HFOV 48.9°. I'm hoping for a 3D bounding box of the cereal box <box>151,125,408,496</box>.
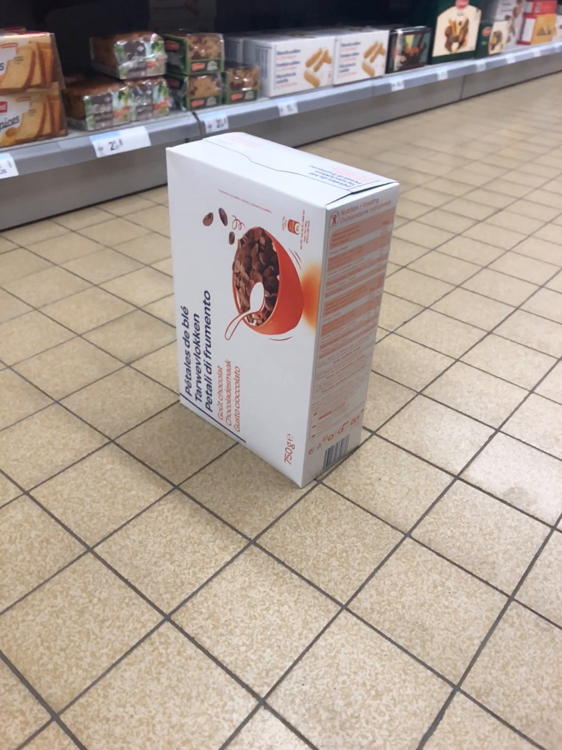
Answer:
[{"bbox_3d":[-0.012,-0.064,0.597,0.200,0.288,0.101,28,41,32],"label":"cereal box"}]
